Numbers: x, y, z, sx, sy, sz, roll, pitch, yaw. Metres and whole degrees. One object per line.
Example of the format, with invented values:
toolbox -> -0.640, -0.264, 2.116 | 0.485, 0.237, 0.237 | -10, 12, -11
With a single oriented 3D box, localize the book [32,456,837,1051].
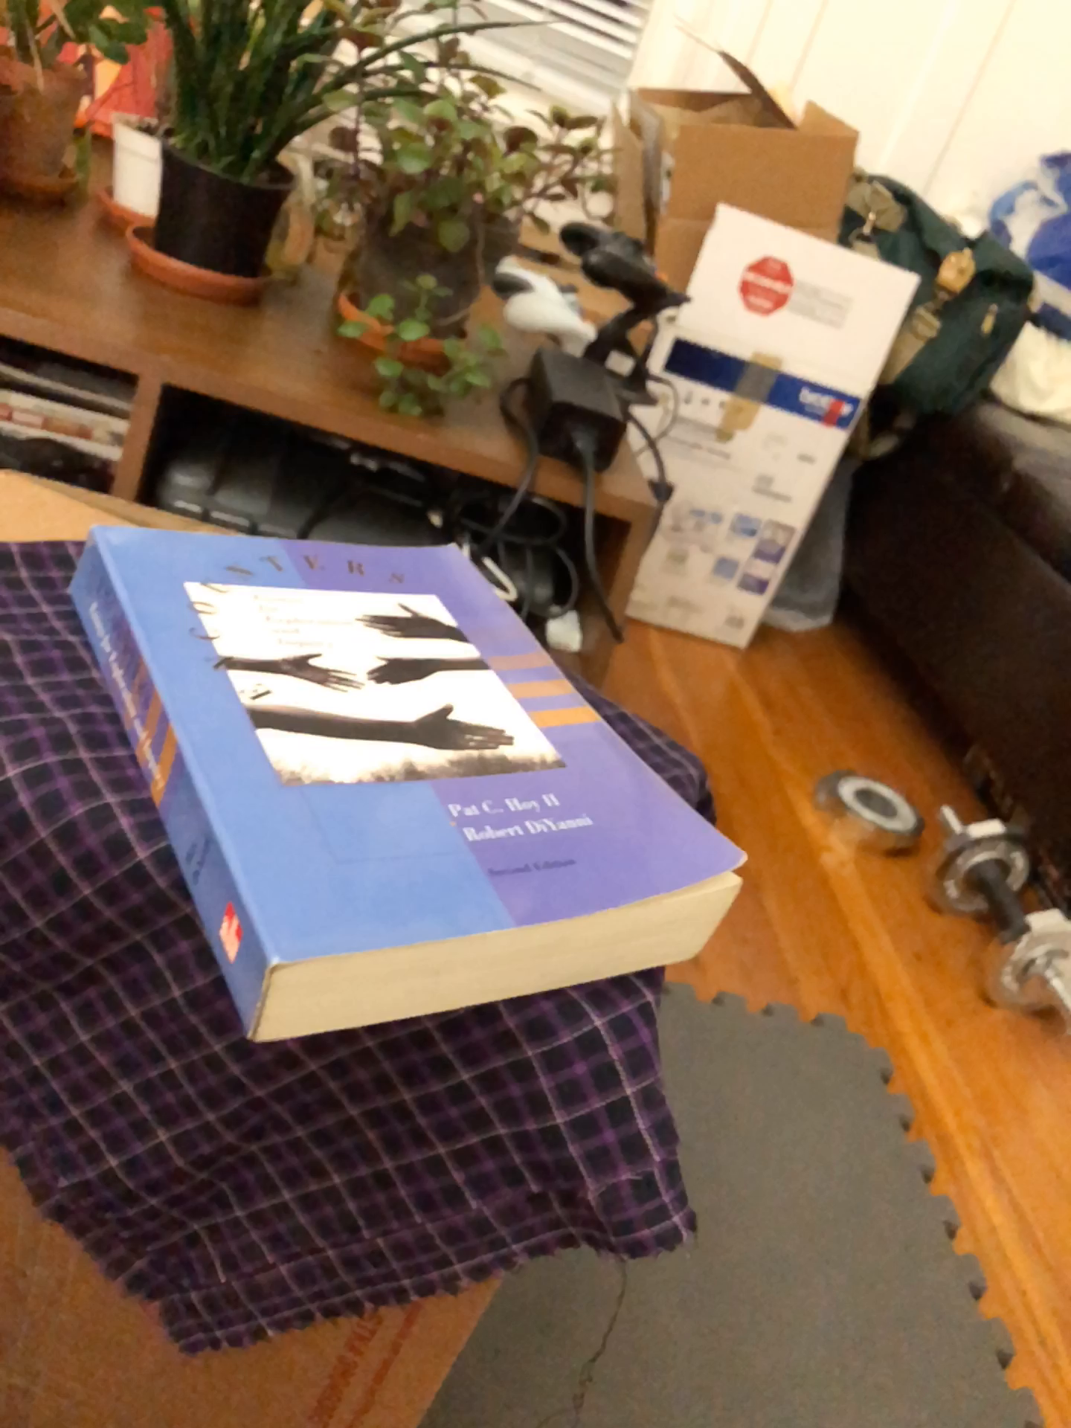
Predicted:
book -> -0.050, -0.008, 0.434 | 0.200, 0.040, 0.261 | -1, 36, -35
